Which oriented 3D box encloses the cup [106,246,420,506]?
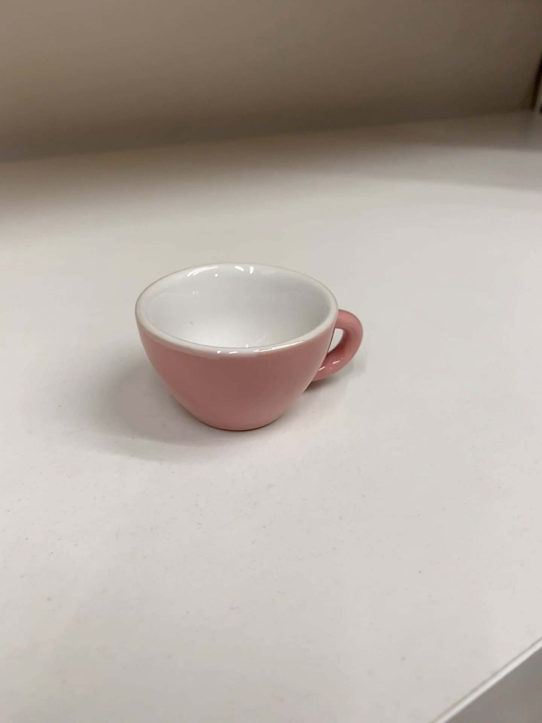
[{"bbox_3d":[-0.002,-0.001,0.158,0.070,0.040,0.040,-16,36,-26],"label":"cup"}]
